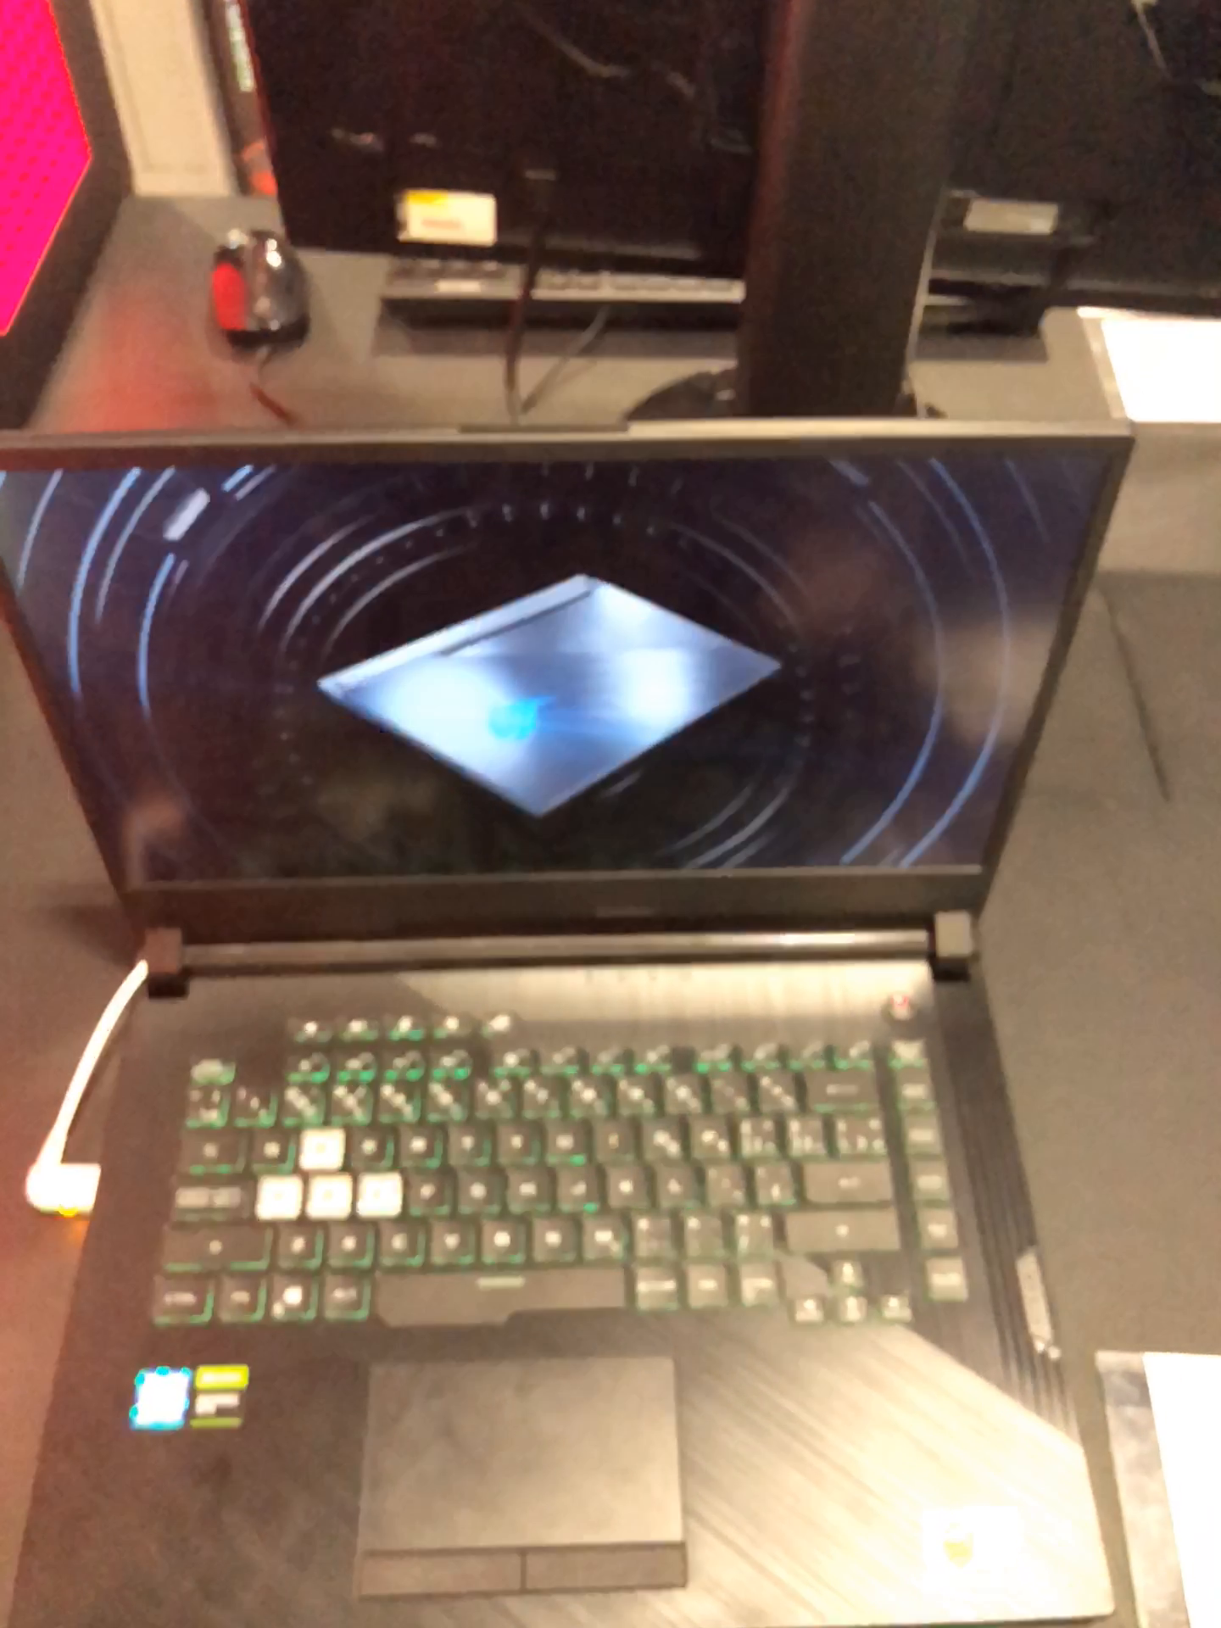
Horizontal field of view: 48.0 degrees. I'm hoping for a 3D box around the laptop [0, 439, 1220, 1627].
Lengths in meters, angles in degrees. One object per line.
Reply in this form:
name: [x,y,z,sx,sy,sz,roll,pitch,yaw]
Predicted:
laptop: [-0.017,0.081,0.429,0.360,0.269,0.276,-1,54,-2]
